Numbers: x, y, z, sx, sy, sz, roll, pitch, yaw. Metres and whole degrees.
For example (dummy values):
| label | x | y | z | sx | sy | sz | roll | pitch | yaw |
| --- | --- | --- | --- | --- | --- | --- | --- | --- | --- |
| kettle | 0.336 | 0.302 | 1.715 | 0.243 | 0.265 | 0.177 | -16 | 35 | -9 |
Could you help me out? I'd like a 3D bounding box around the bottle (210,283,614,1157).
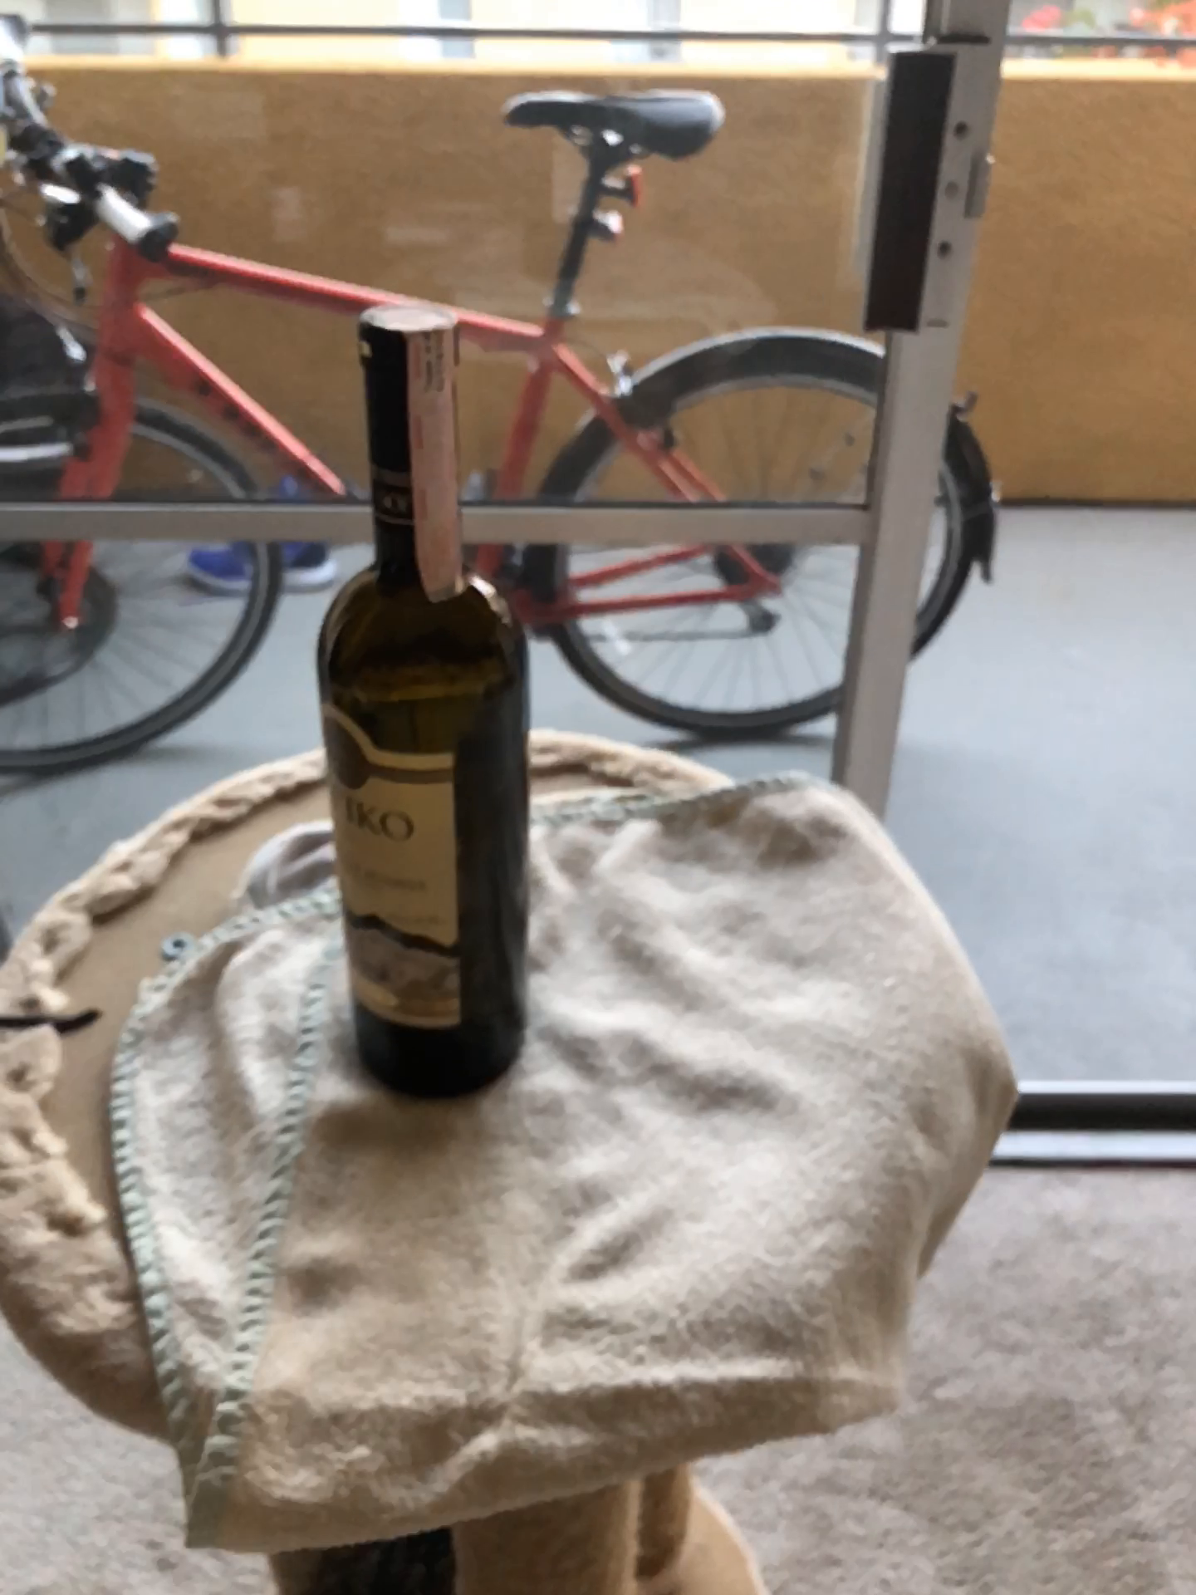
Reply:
| label | x | y | z | sx | sy | sz | roll | pitch | yaw |
| --- | --- | --- | --- | --- | --- | --- | --- | --- | --- |
| bottle | -0.052 | -0.015 | 0.443 | 0.080 | 0.269 | 0.080 | 0 | 35 | 0 |
